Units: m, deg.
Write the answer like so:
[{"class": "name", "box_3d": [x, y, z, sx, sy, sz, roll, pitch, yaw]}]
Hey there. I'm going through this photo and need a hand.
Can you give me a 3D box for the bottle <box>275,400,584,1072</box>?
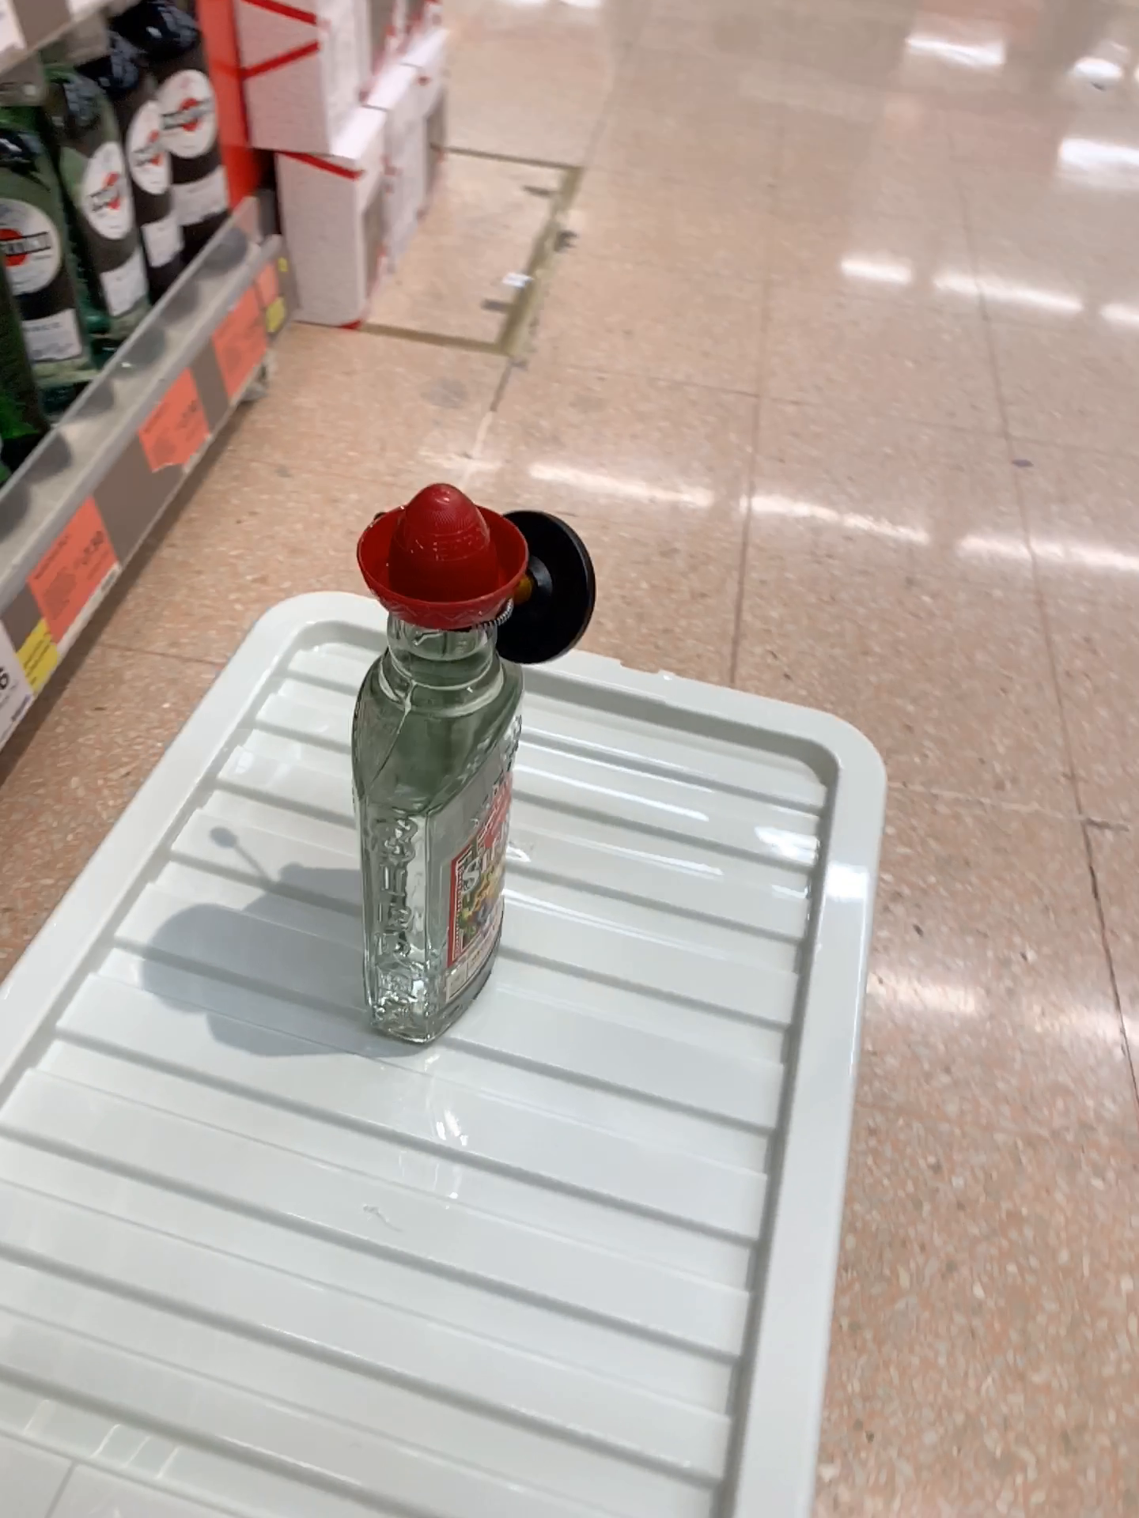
[{"class": "bottle", "box_3d": [-0.048, 0.005, 0.436, 0.058, 0.240, 0.104, 16, 48, 8]}]
